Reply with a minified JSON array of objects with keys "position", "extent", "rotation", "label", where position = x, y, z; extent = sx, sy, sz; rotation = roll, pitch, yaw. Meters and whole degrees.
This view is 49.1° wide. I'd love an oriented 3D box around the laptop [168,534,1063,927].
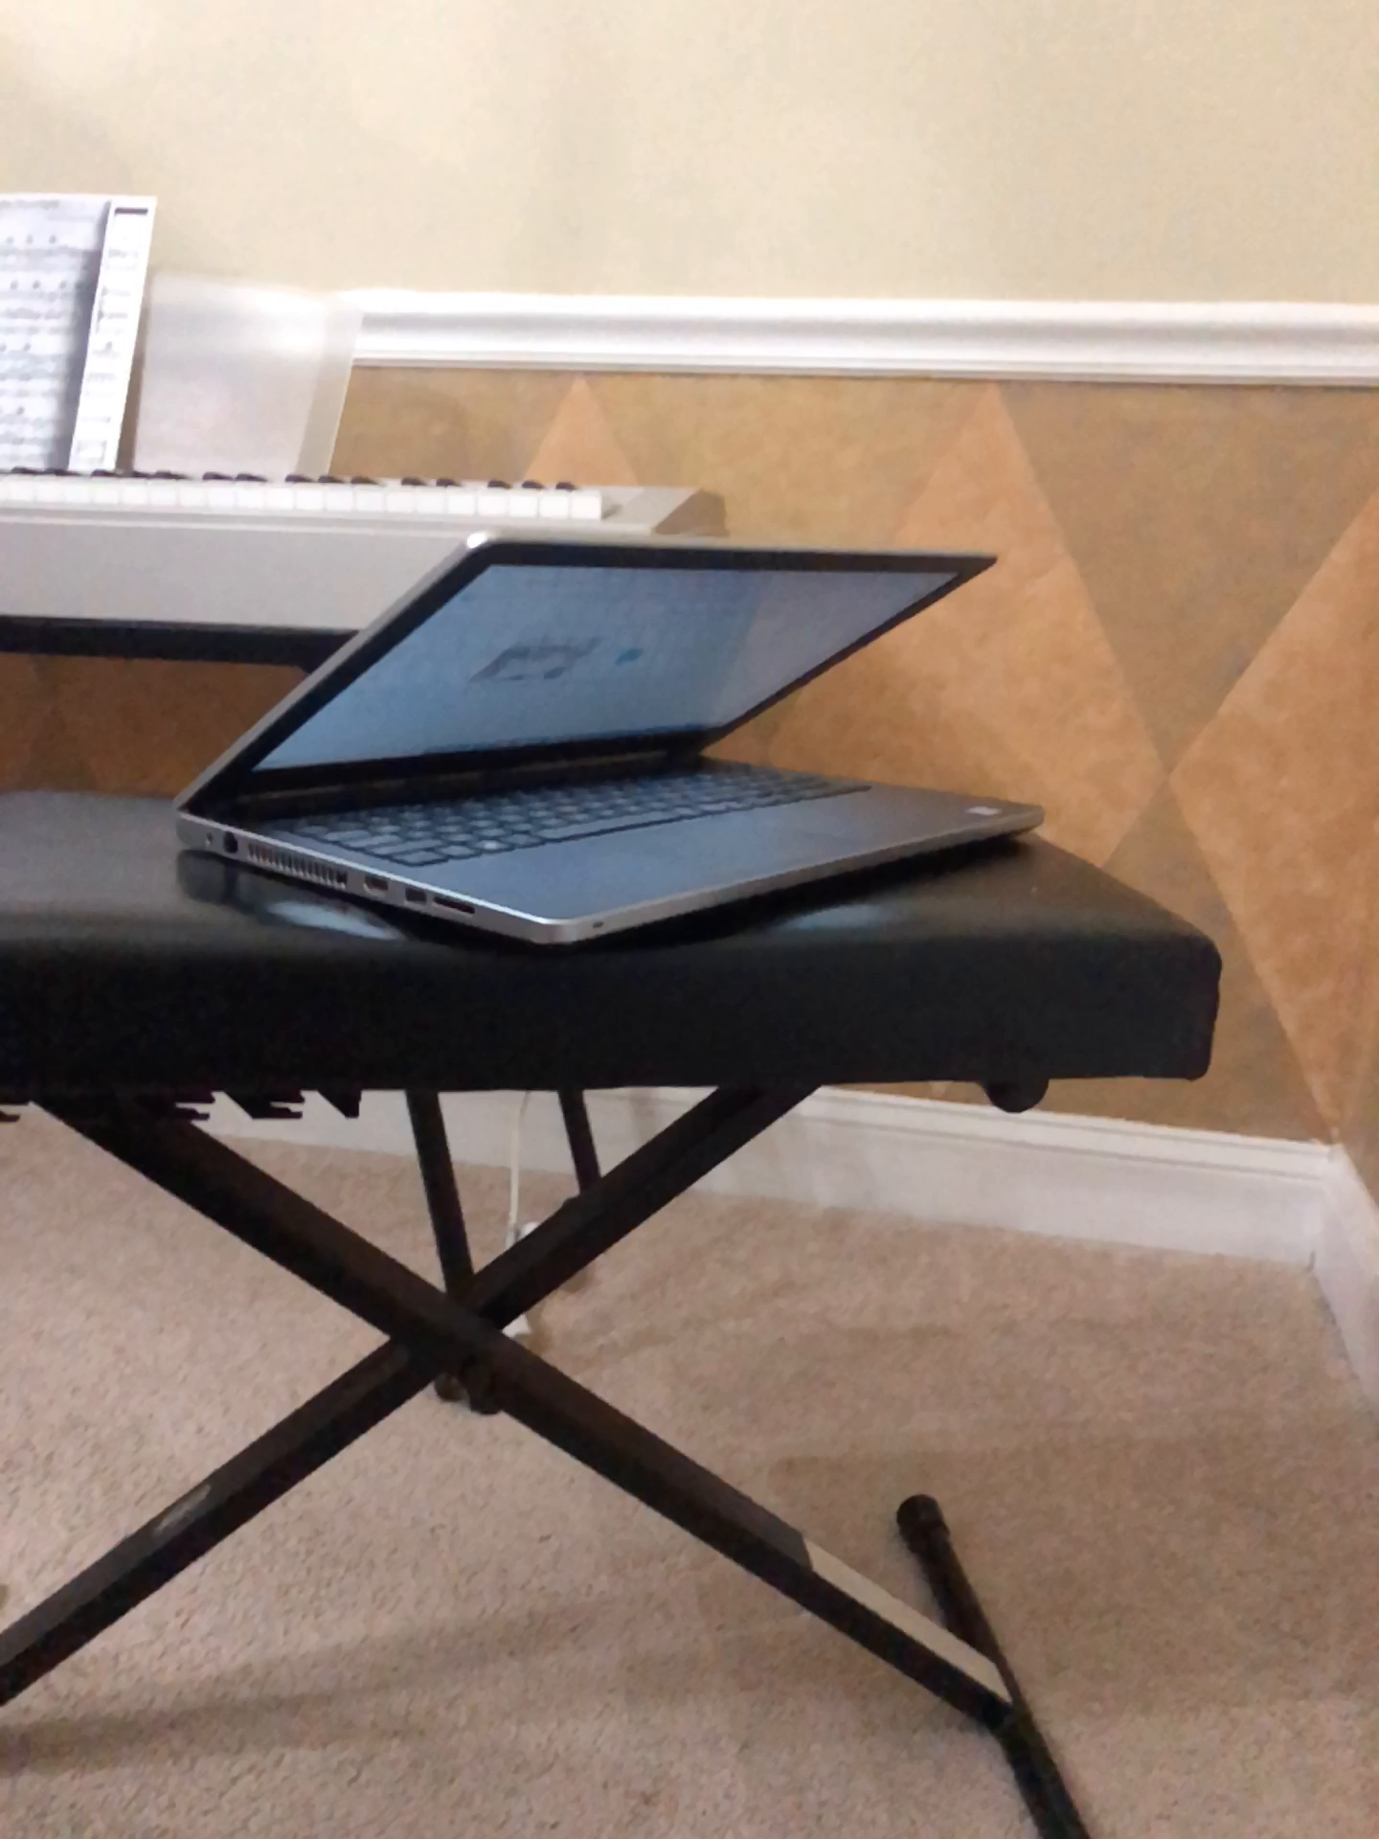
[{"position":[-0.023,-0.121,0.785],"extent":[0.261,0.137,0.376],"rotation":[15,19,39],"label":"laptop"}]
